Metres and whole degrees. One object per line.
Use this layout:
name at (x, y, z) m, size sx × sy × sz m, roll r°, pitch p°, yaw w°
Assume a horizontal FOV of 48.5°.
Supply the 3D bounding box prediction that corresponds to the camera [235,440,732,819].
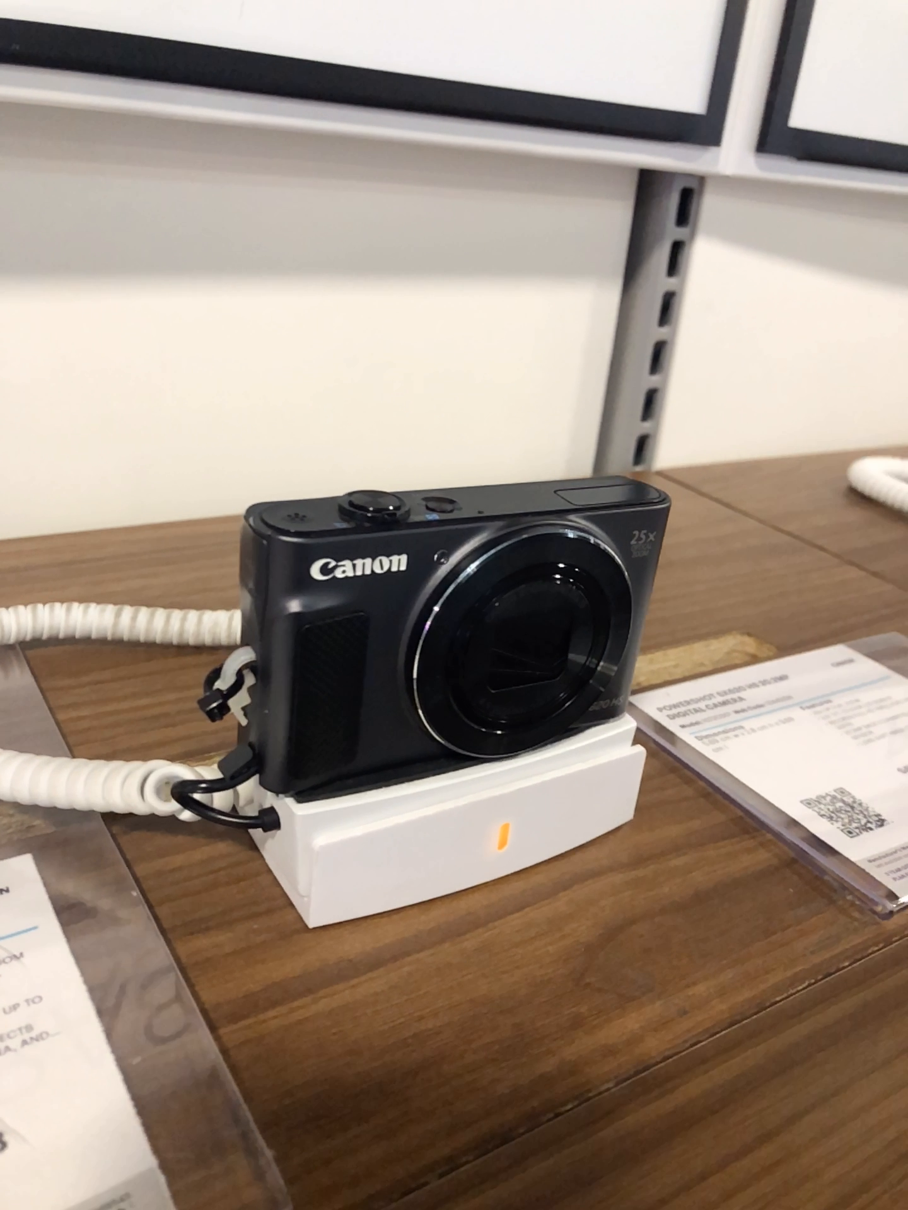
camera at (0.007, 0.000, 0.215) m, size 0.100 × 0.060 × 0.030 m, roll -9°, pitch 27°, yaw -31°
